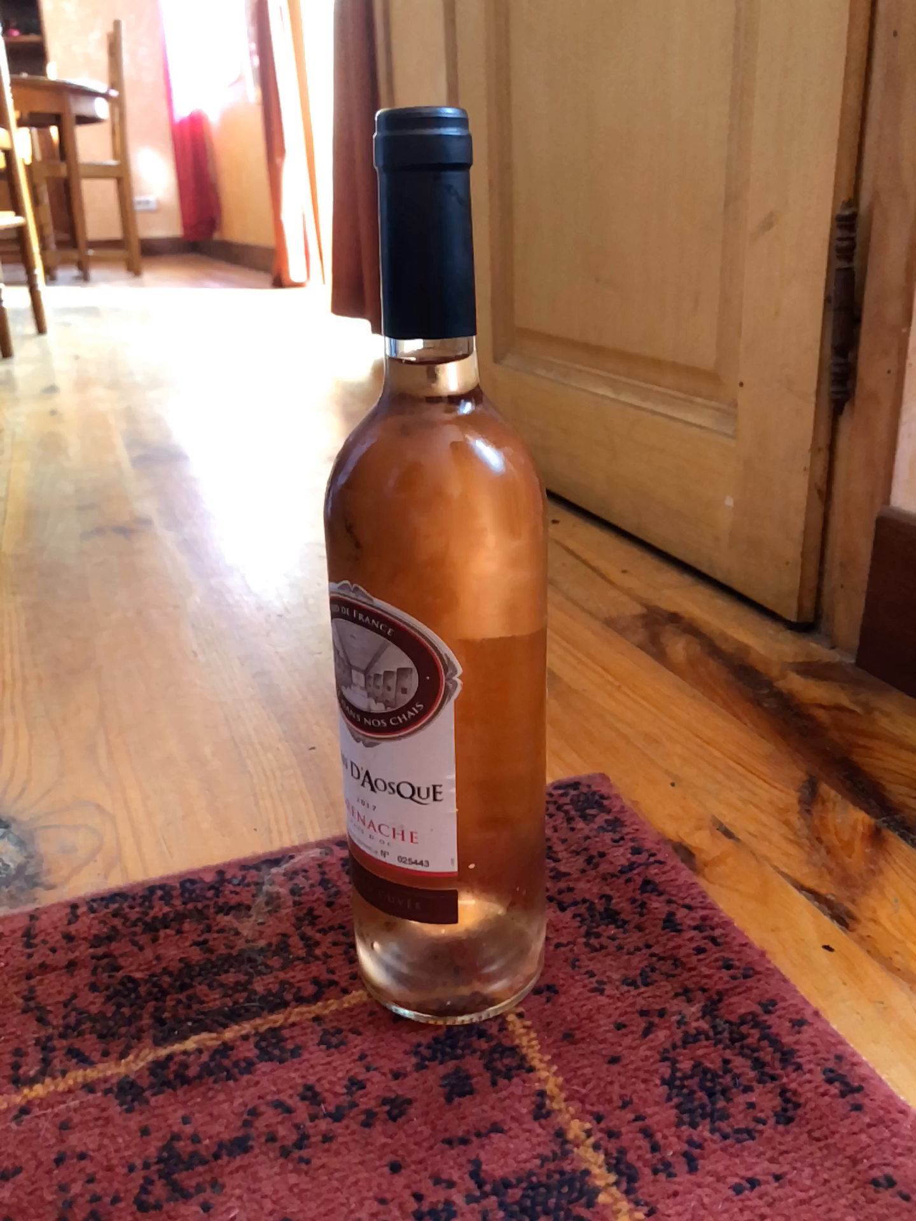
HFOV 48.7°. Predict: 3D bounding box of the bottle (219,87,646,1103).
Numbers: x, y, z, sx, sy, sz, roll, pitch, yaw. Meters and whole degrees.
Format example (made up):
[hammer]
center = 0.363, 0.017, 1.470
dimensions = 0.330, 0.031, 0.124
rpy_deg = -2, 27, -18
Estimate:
[bottle]
center = -0.001, 0.002, 0.342
dimensions = 0.090, 0.308, 0.080
rpy_deg = 18, 30, 41
